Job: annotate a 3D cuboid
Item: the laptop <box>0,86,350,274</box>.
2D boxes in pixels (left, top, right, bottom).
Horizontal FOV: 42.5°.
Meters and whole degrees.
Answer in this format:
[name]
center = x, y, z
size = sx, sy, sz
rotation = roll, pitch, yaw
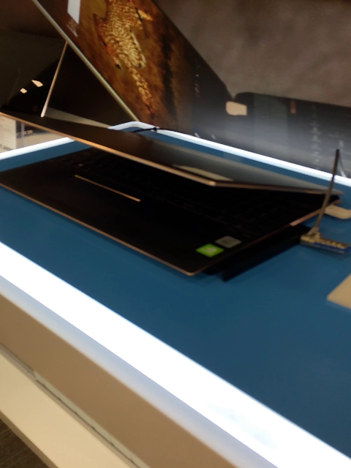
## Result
[laptop]
center = -0.030, -0.097, 0.575
size = 0.363, 0.089, 0.239
rotation = 26, 42, 36
